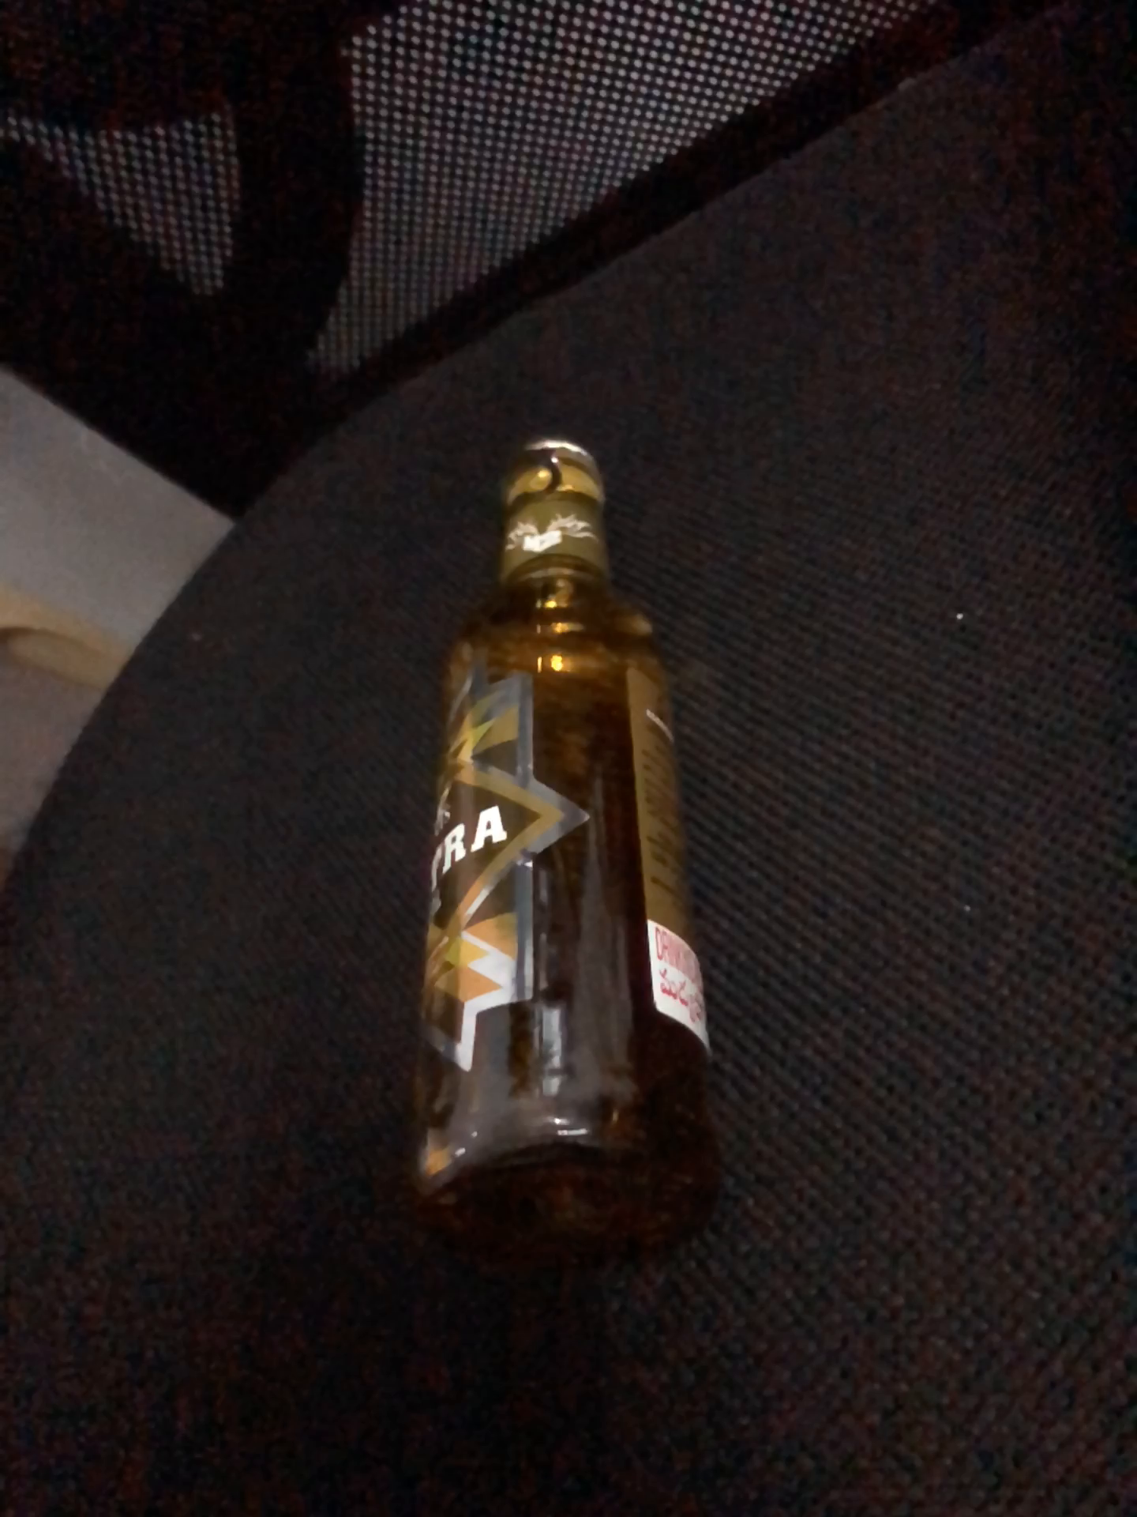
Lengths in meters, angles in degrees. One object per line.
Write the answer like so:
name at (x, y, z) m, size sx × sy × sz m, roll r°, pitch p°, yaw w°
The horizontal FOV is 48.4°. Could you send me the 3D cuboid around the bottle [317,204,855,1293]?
bottle at (-0.008, -0.014, 0.280) m, size 0.070 × 0.060 × 0.231 m, roll -31°, pitch 49°, yaw 31°
